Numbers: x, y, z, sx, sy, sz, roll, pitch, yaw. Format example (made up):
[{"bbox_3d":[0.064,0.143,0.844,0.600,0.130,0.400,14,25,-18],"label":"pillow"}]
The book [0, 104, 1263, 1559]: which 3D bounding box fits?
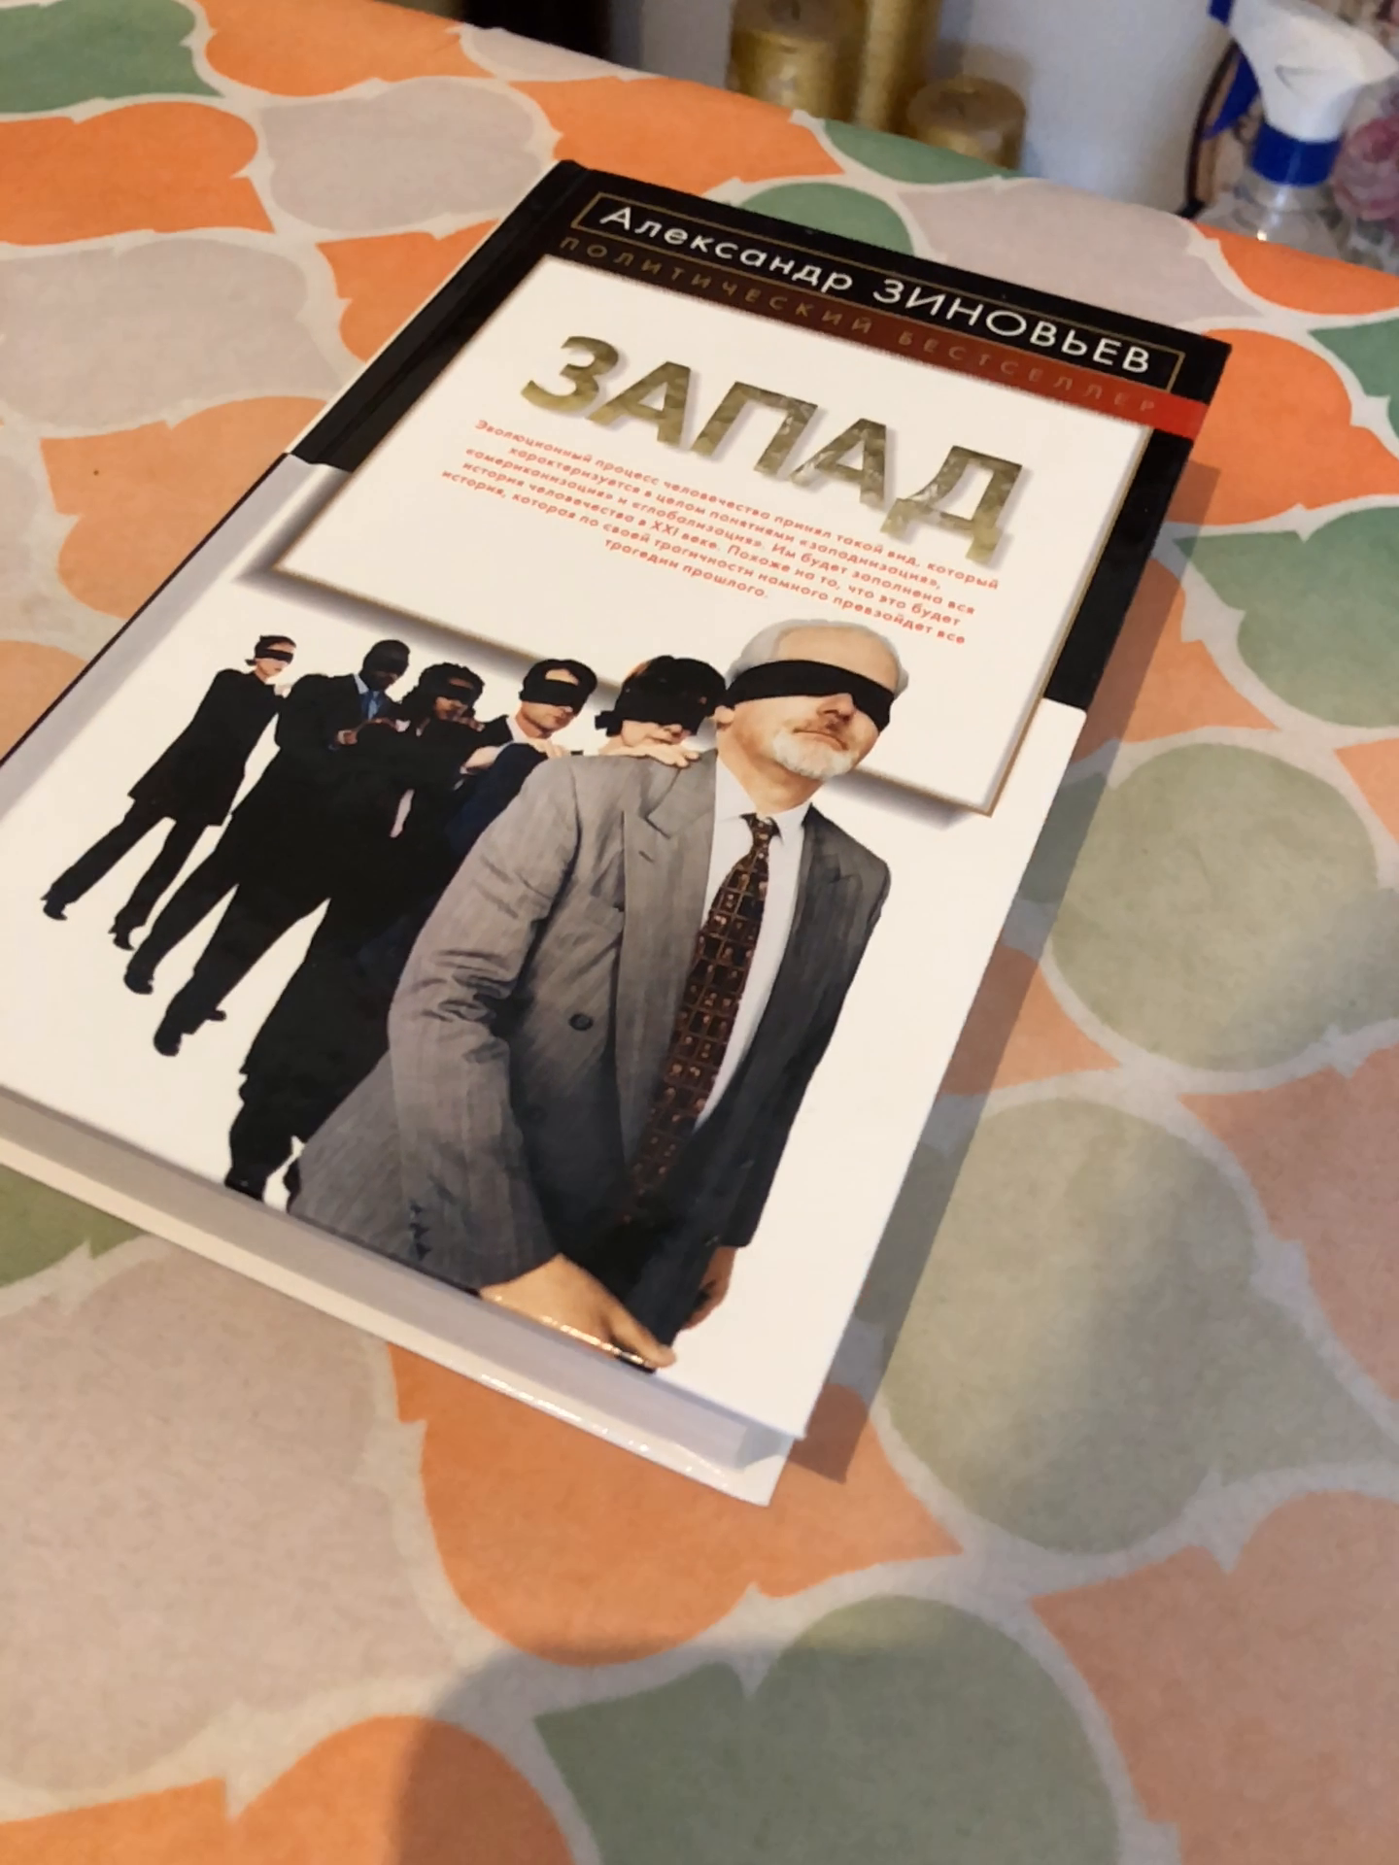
[{"bbox_3d":[-0.011,-0.043,0.242,0.140,0.040,0.221,21,56,12],"label":"book"}]
